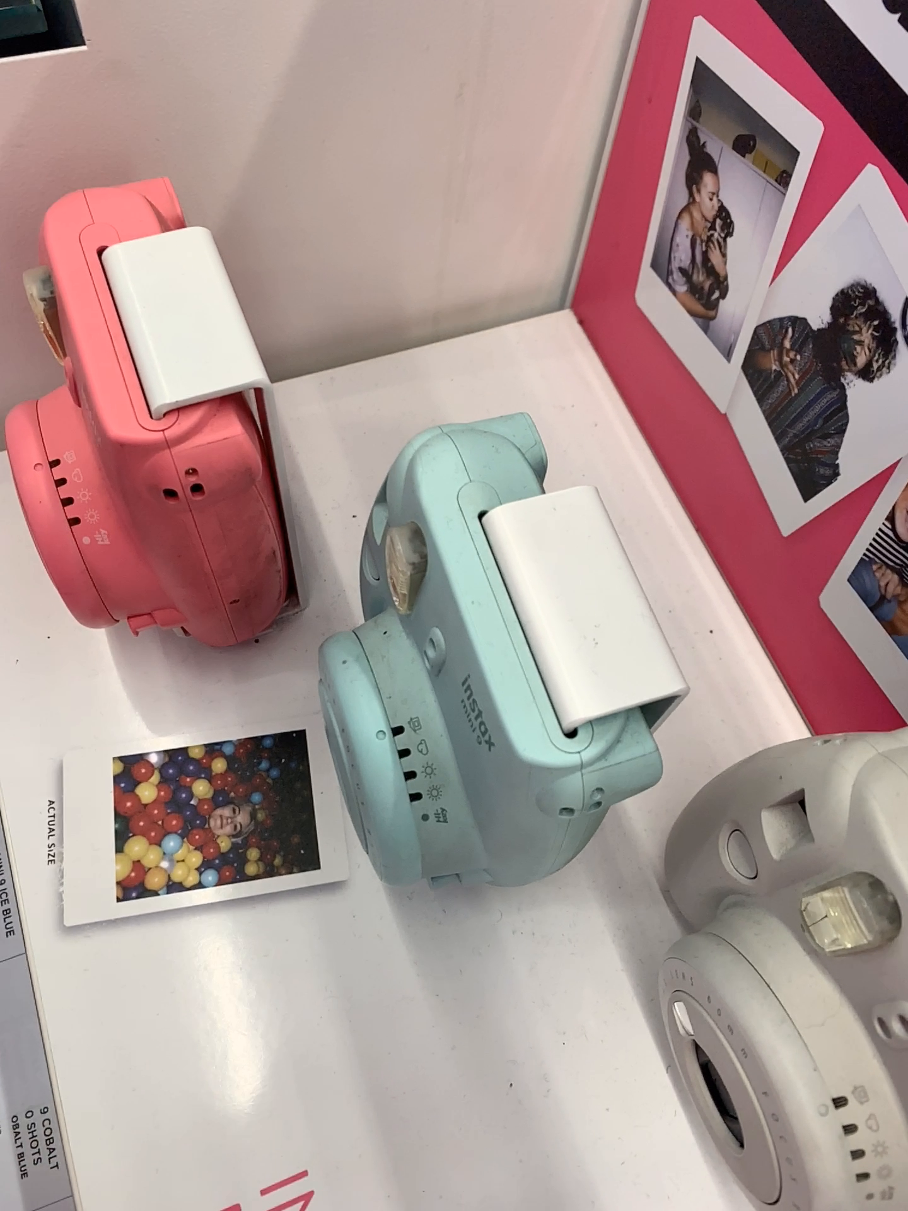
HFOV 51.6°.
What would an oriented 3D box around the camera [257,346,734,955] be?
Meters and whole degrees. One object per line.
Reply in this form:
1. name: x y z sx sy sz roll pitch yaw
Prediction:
1. camera: 0.000 0.021 0.256 0.070 0.129 0.111 -14 66 -12
